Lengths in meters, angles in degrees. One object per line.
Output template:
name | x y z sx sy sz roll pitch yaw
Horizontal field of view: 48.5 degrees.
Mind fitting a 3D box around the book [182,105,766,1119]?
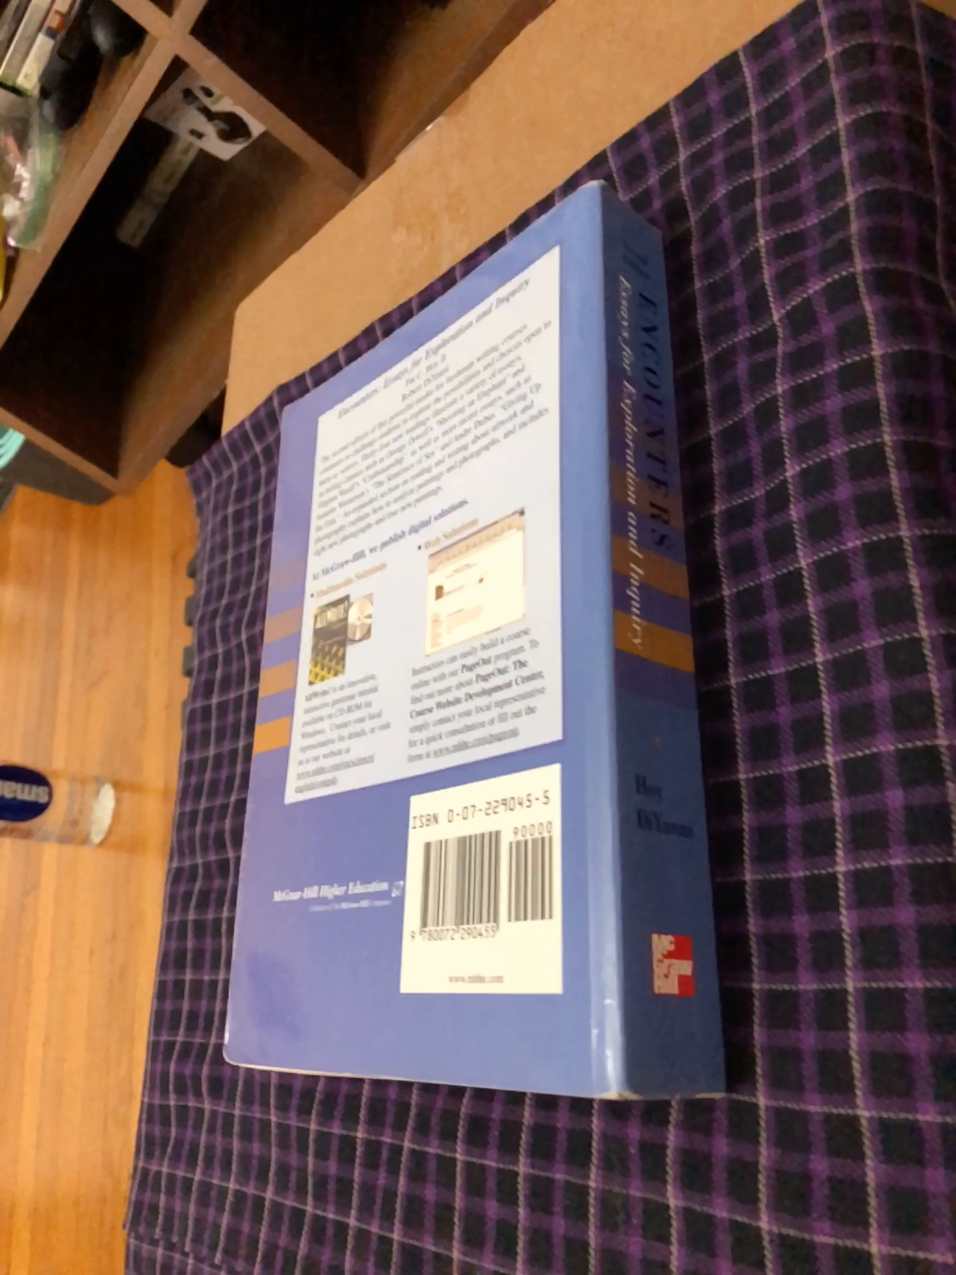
book | -0.014 0.002 0.309 0.181 0.040 0.240 -22 59 46
